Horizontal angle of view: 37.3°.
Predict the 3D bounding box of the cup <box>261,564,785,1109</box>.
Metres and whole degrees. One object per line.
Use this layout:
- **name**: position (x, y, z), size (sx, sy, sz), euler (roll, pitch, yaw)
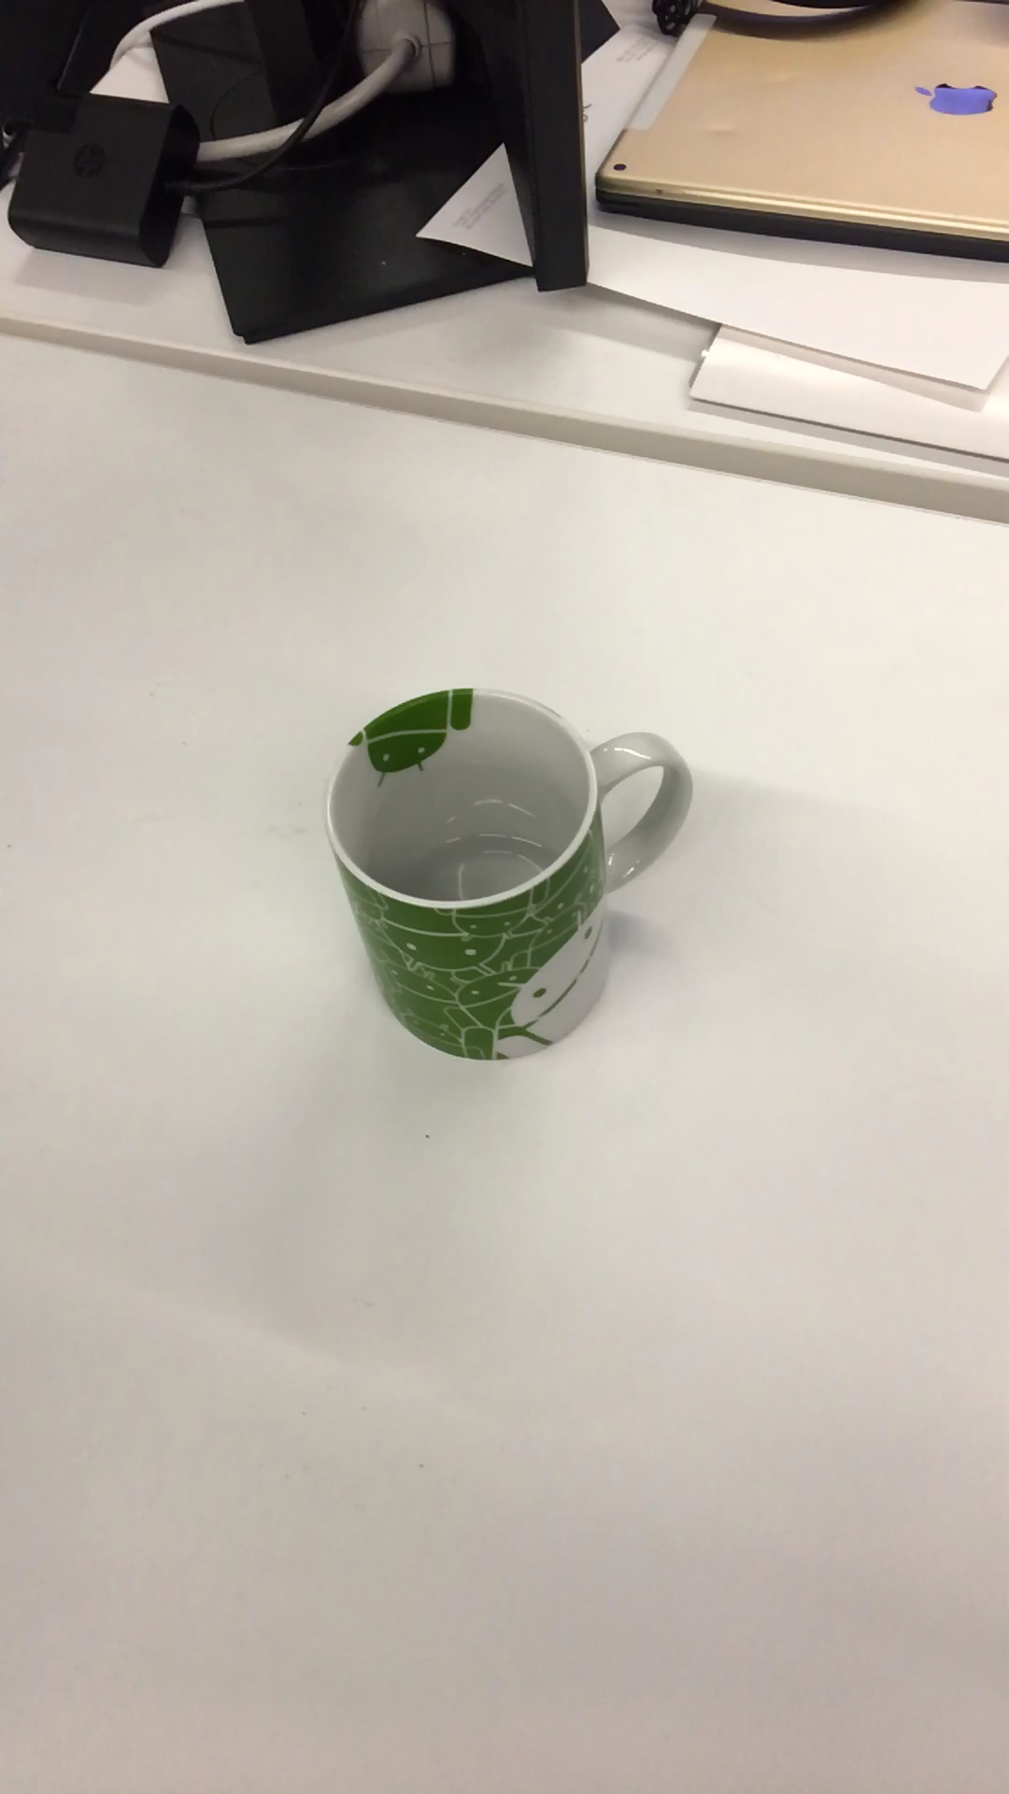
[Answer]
- **cup**: position (0.007, -0.019, 0.463), size (0.120, 0.090, 0.090), euler (-30, 59, -14)
